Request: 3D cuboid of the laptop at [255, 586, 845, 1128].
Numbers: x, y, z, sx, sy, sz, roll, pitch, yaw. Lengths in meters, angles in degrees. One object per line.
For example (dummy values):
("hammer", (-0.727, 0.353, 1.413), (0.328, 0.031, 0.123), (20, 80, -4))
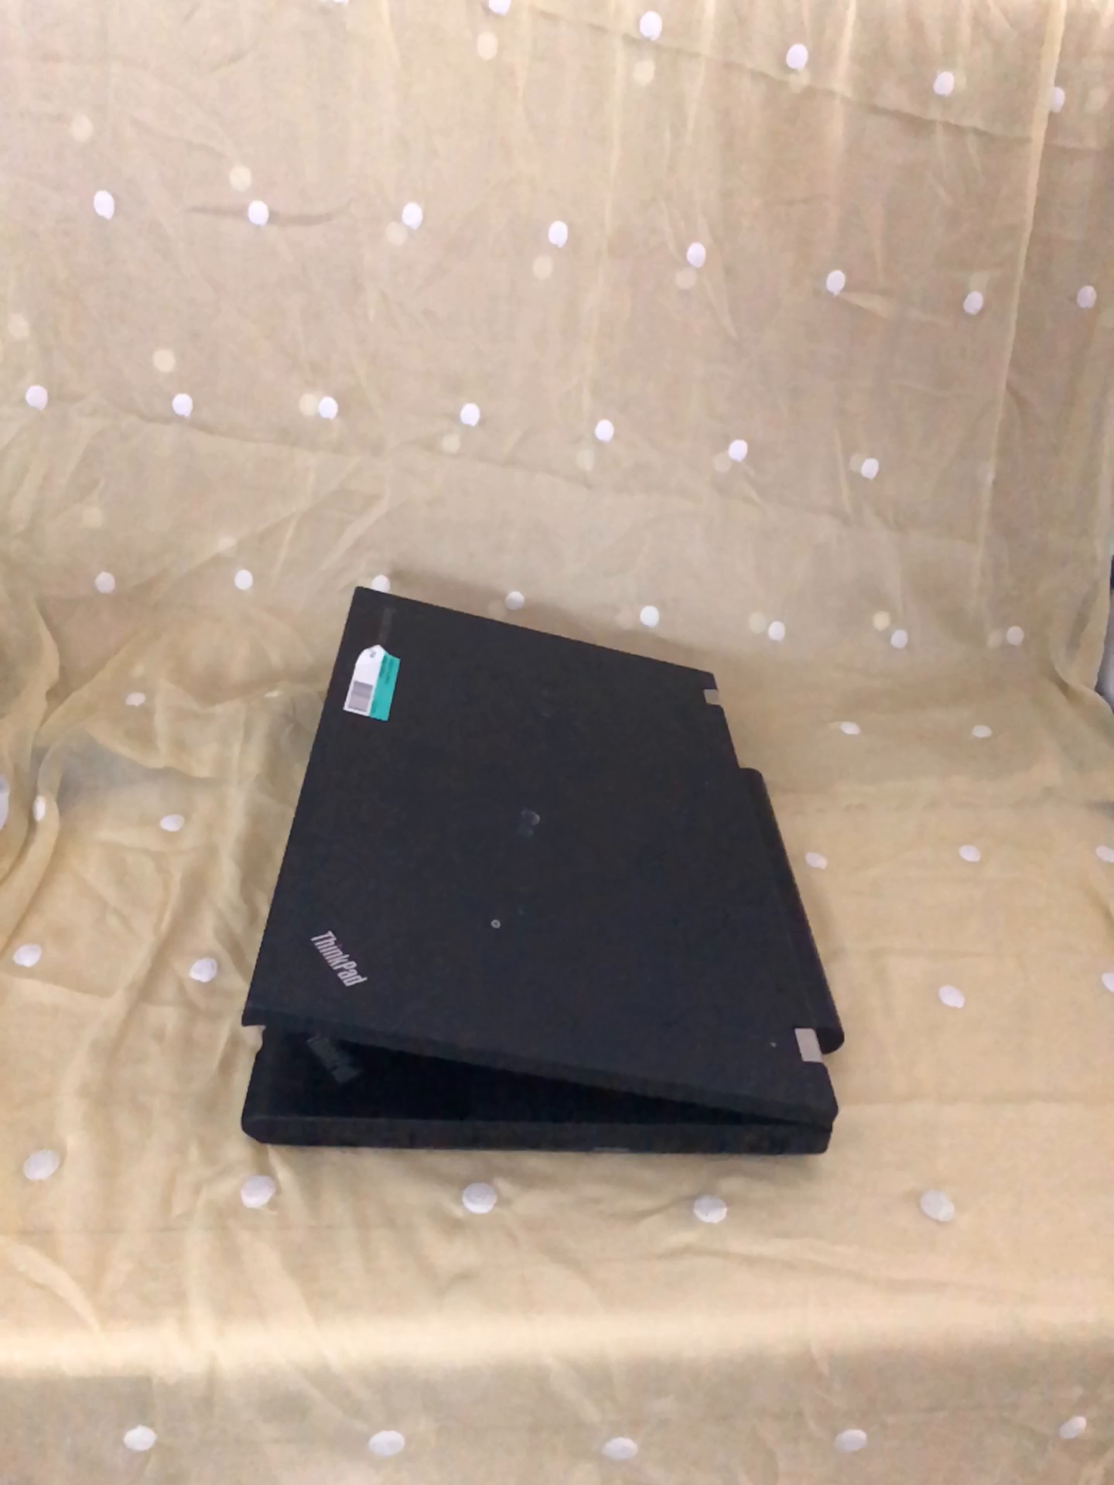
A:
("laptop", (-0.008, 0.028, 0.630), (0.225, 0.050, 0.358), (2, 33, -1))
